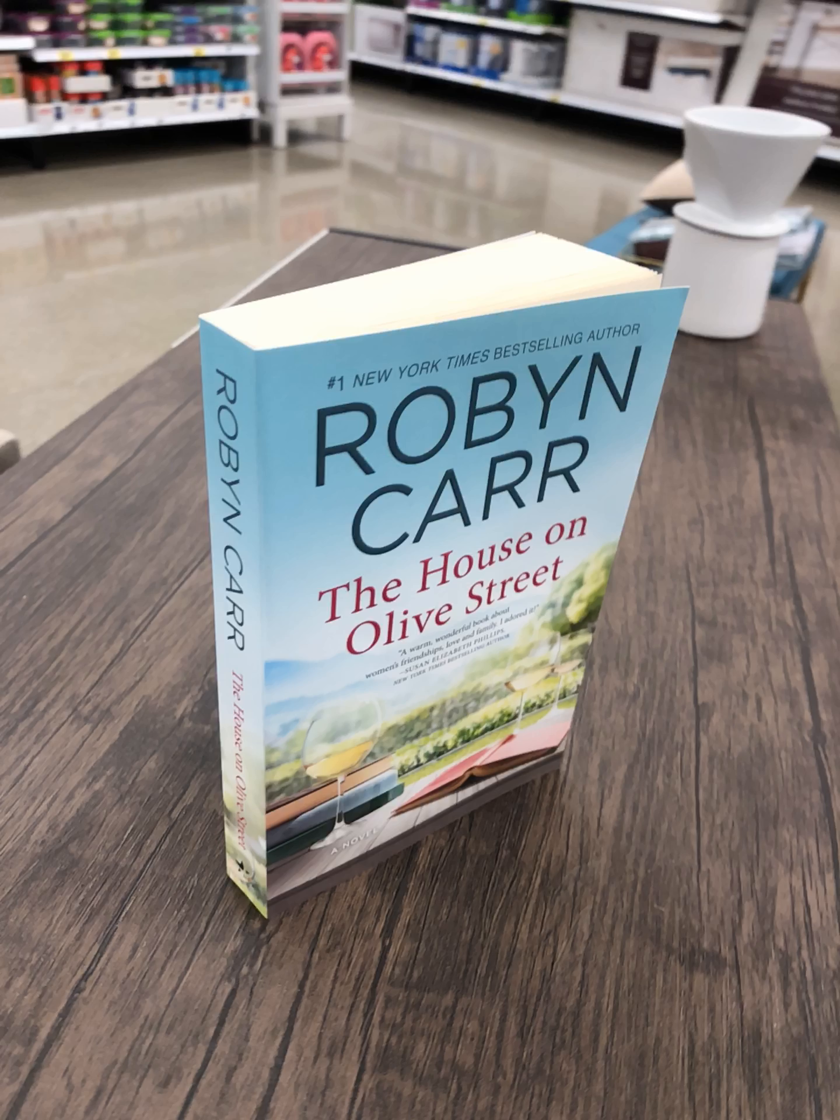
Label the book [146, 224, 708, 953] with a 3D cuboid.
[{"bbox_3d":[0.001,0.008,0.295,0.147,0.195,0.050,-21,42,-34],"label":"book"}]
